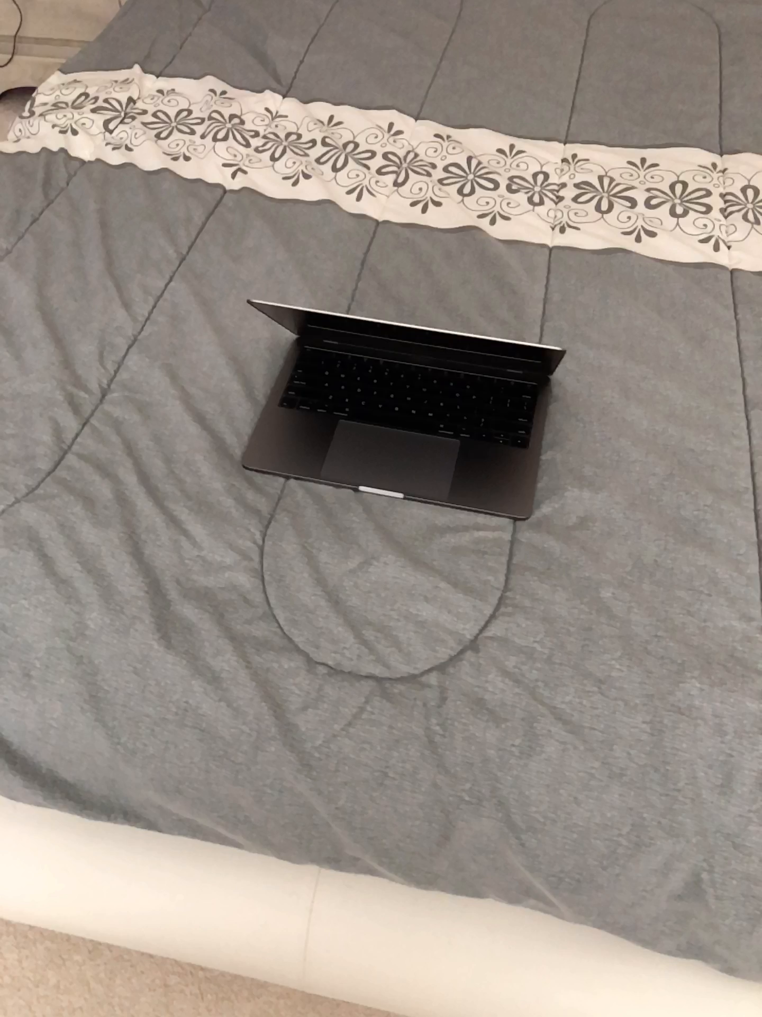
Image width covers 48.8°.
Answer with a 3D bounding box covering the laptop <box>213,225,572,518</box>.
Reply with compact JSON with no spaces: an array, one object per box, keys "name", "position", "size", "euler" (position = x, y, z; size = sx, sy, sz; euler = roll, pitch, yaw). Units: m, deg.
[{"name":"laptop","position":[0.019,-0.133,0.786],"size":[0.278,0.140,0.195],"euler":[10,52,9]}]
